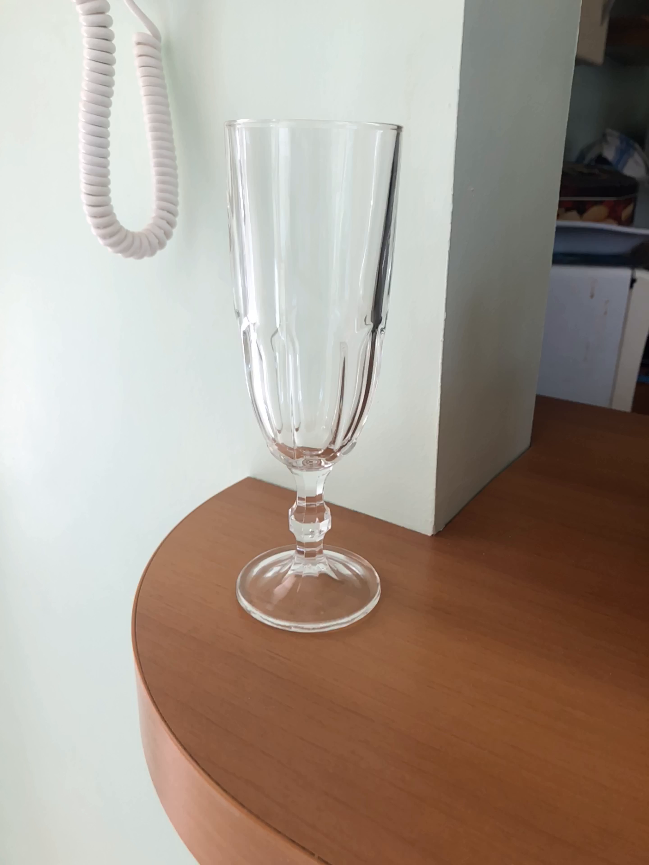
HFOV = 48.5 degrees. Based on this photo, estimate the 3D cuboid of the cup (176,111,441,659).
[{"bbox_3d":[-0.009,-0.019,0.255,0.060,0.169,0.070,-9,22,-24],"label":"cup"}]
